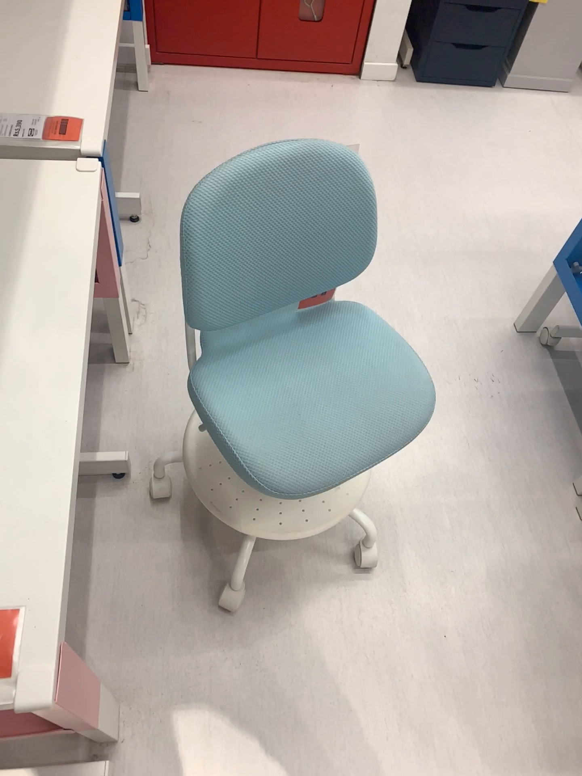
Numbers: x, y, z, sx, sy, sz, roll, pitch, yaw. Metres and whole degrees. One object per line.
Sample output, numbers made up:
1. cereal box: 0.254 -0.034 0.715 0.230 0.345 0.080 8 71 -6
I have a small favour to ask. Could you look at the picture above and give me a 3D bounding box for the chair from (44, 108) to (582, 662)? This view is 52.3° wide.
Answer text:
1. chair: 0.006 0.012 1.124 0.581 0.678 0.611 -25 63 -22
